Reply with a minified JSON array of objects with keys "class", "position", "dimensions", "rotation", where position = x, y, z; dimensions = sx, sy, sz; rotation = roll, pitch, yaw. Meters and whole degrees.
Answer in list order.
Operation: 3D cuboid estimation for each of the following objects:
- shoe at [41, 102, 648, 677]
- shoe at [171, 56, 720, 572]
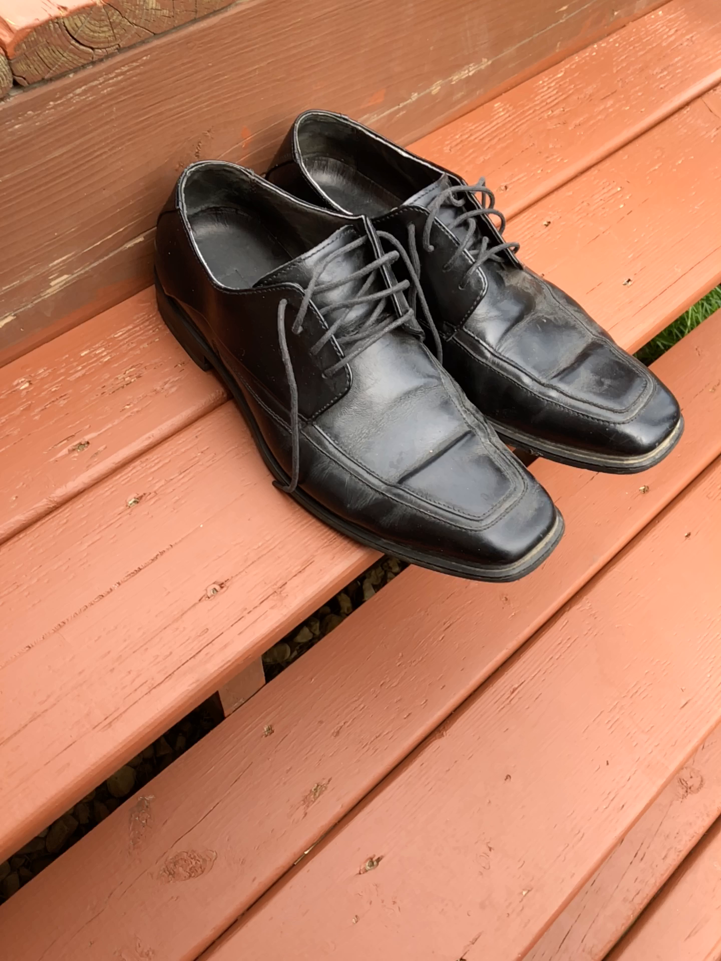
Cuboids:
[{"class":"shoe","position":[-0.024,-0.066,0.464],"dimensions":[0.130,0.110,0.330],"rotation":[-37,67,-23]},{"class":"shoe","position":[0.048,-0.115,0.495],"dimensions":[0.330,0.110,0.130],"rotation":[40,64,19]}]
